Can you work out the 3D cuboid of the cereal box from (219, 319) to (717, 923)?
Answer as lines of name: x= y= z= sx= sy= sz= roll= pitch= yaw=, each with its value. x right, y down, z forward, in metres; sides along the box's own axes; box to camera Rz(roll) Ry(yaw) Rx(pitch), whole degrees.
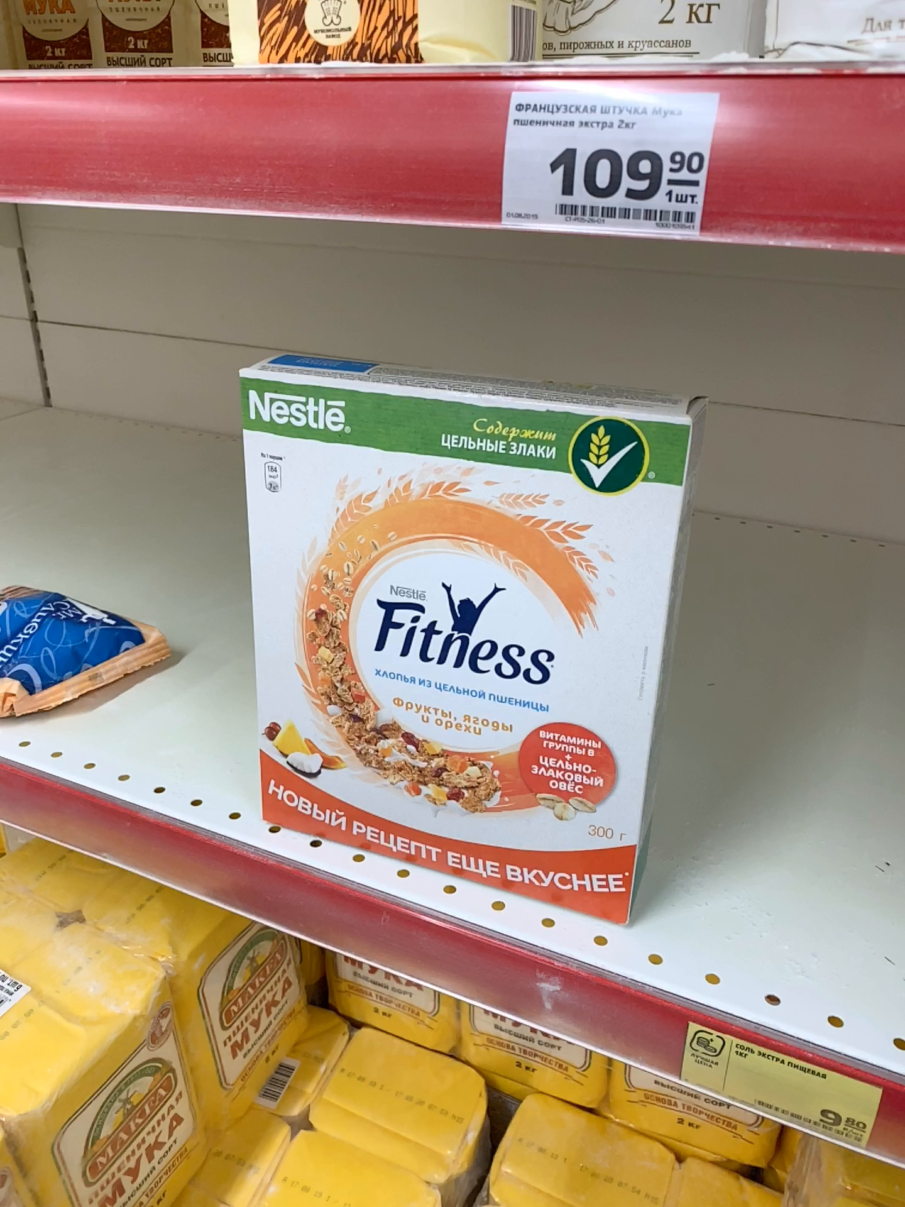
cereal box: x=-0.001 y=0.002 z=0.431 sx=0.200 sy=0.238 sz=0.060 roll=11 pitch=22 yaw=20
